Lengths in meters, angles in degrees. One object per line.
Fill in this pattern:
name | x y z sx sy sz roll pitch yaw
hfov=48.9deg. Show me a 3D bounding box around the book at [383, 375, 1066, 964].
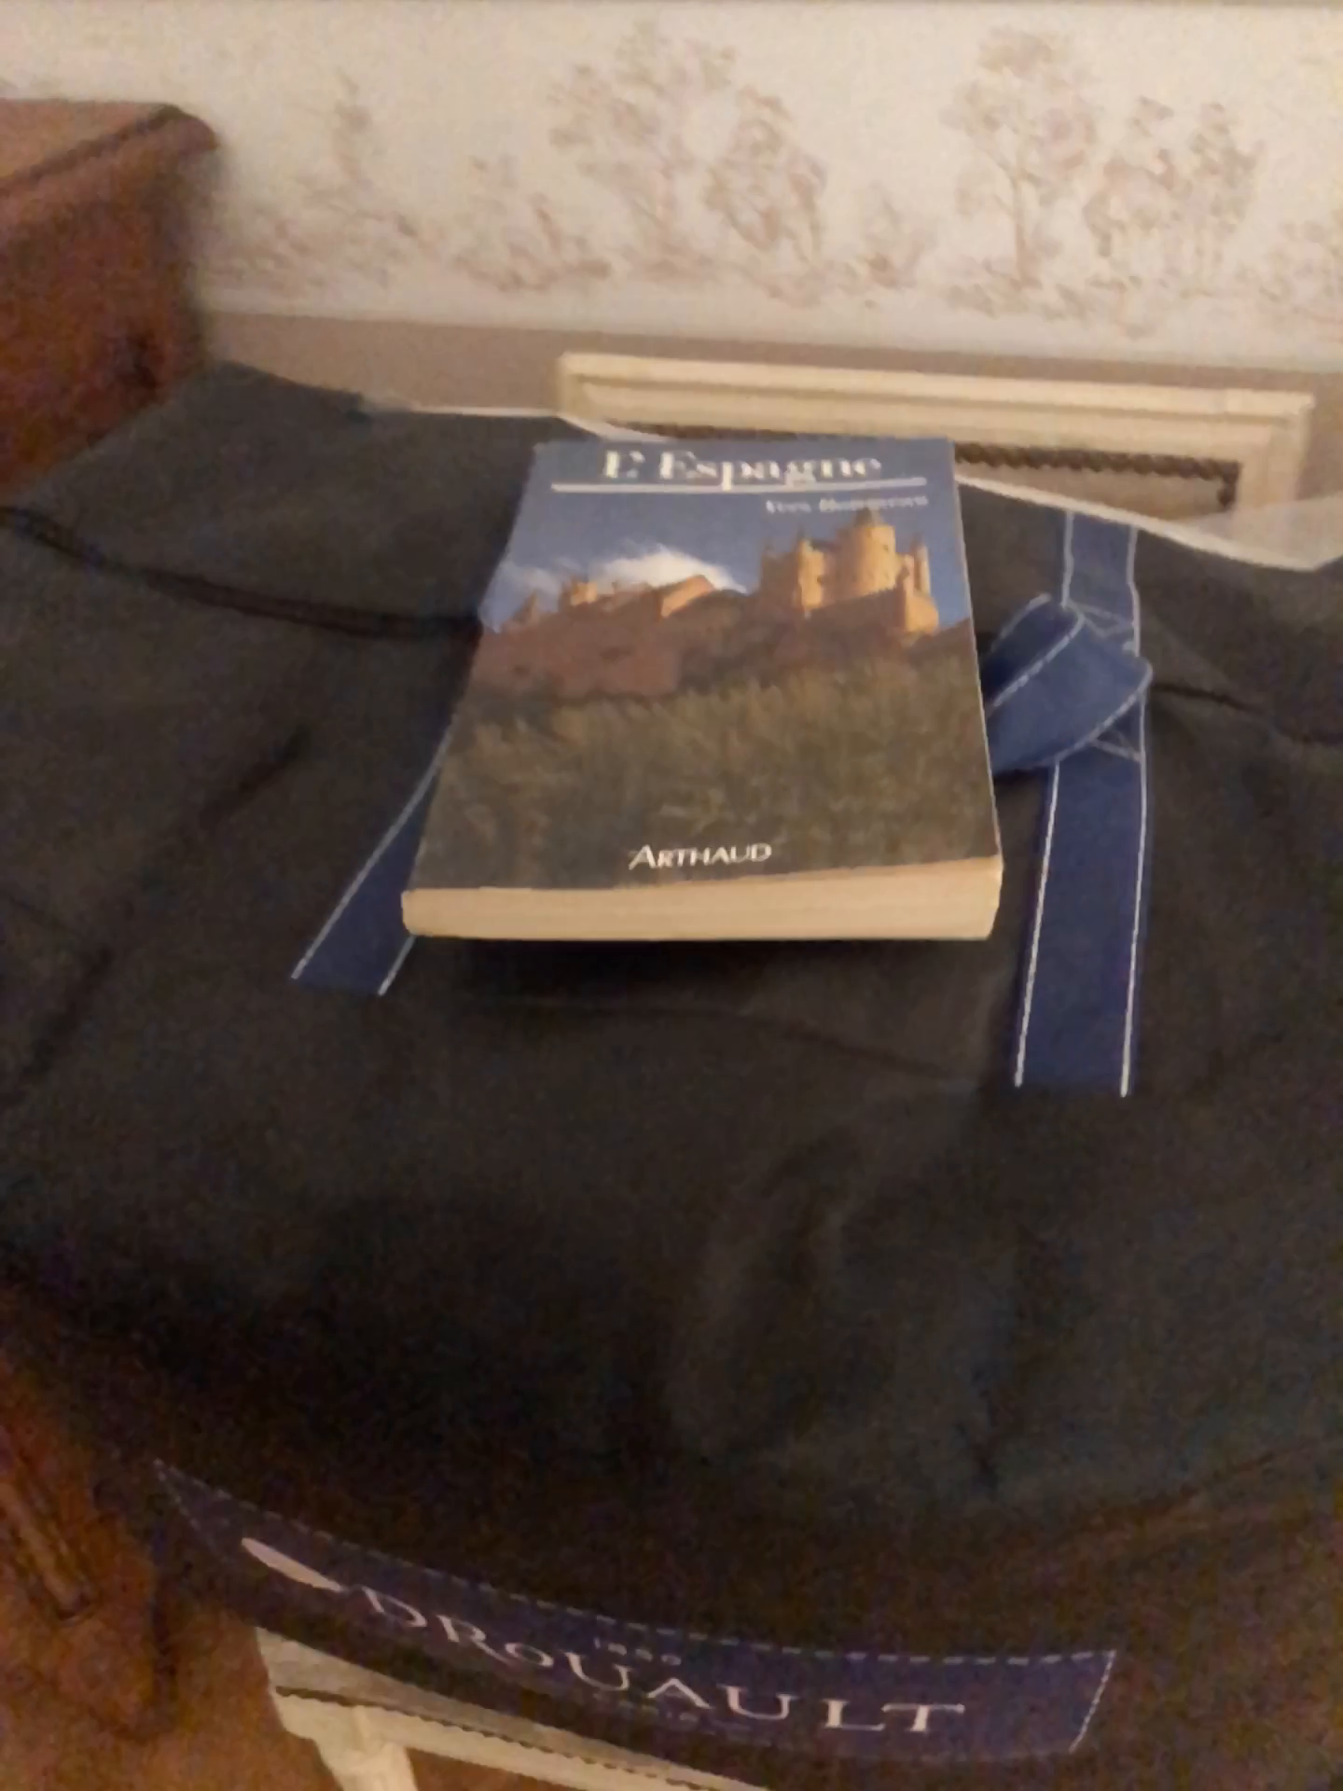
book | 0.021 -0.084 0.465 0.170 0.030 0.252 -2 45 7
